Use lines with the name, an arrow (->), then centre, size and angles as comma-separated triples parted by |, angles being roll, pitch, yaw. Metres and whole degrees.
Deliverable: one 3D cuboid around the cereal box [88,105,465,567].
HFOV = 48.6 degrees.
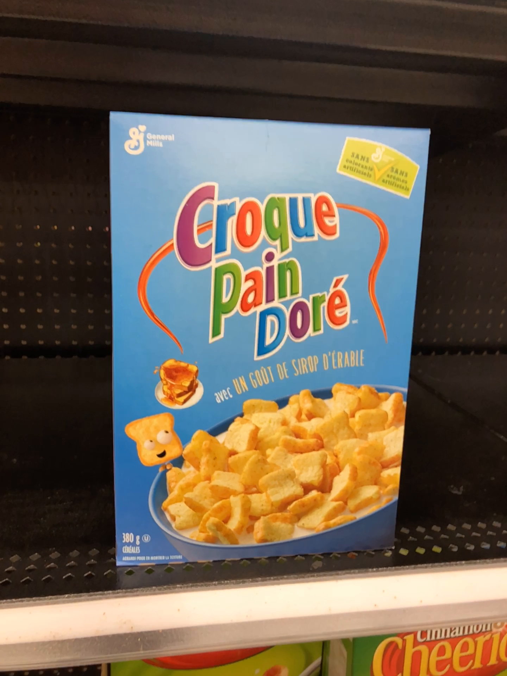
cereal box -> 0.009, 0.003, 0.364 | 0.210, 0.269, 0.060 | 0, 12, -9
